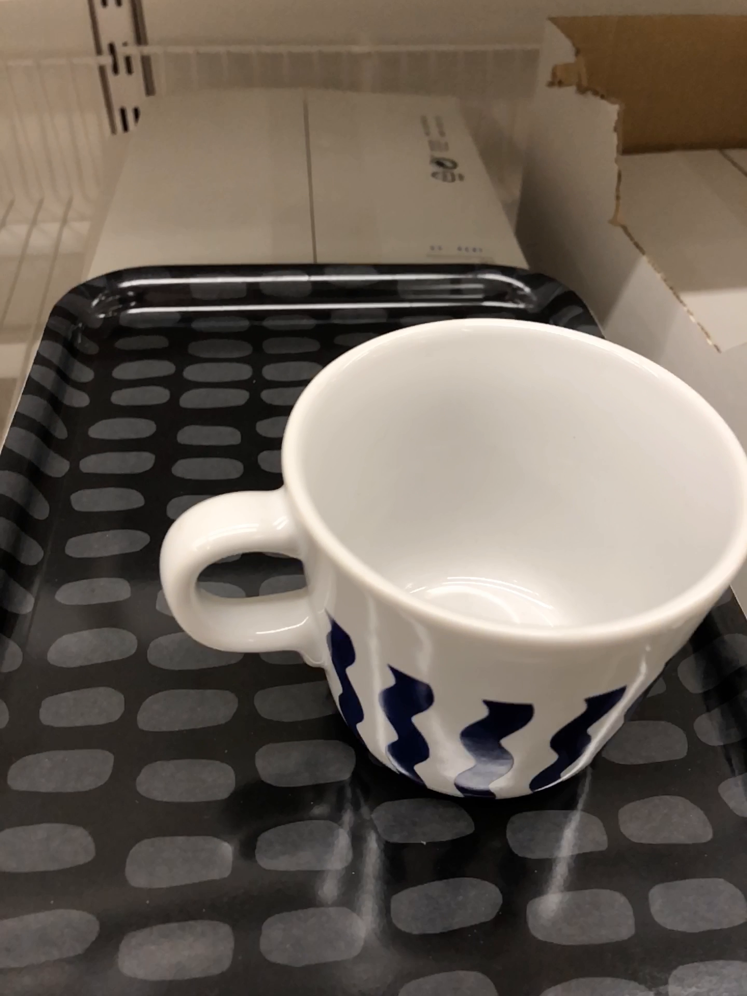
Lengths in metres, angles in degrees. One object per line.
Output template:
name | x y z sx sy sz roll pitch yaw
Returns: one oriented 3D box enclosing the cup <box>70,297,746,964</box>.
cup | 0.010 0.021 0.175 0.120 0.080 0.090 -7 42 -10
